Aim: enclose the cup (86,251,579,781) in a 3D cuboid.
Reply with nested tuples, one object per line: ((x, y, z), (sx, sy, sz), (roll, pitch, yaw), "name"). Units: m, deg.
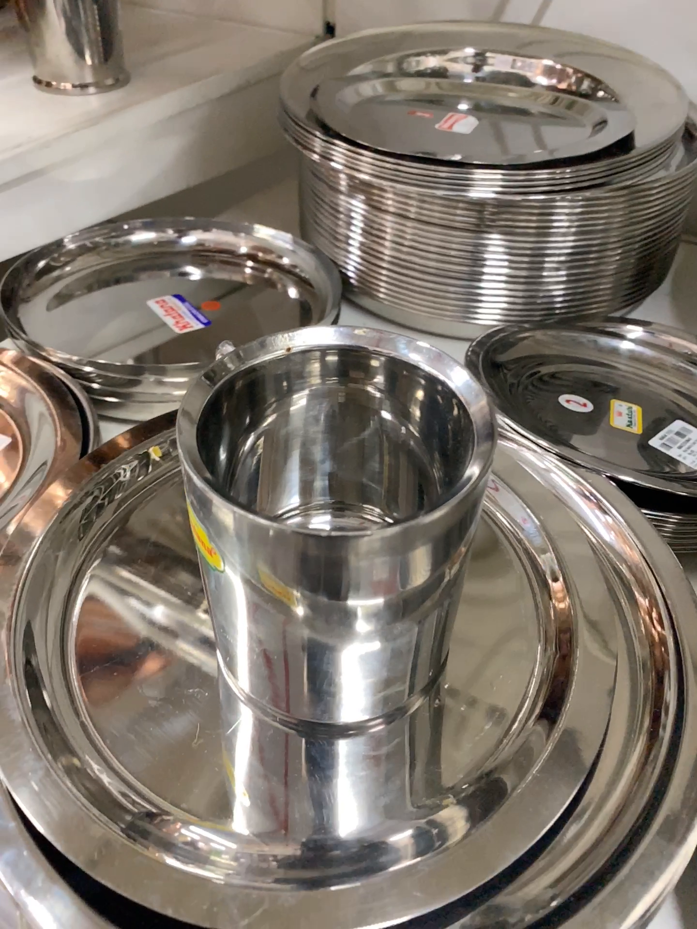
((-0.010, 0.008, 0.219), (0.080, 0.090, 0.110), (-26, 48, -27), "cup")
